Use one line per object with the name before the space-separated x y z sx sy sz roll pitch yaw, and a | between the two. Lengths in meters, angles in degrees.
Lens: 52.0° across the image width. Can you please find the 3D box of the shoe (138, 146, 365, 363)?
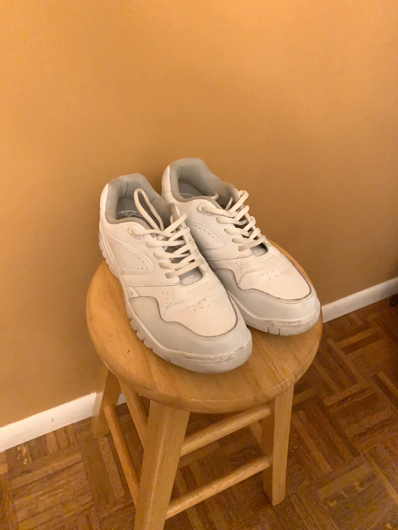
shoe | 0.047 -0.031 0.526 0.120 0.109 0.271 -27 53 -29

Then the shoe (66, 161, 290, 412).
shoe | -0.042 0.005 0.483 0.130 0.109 0.271 -20 50 -24
